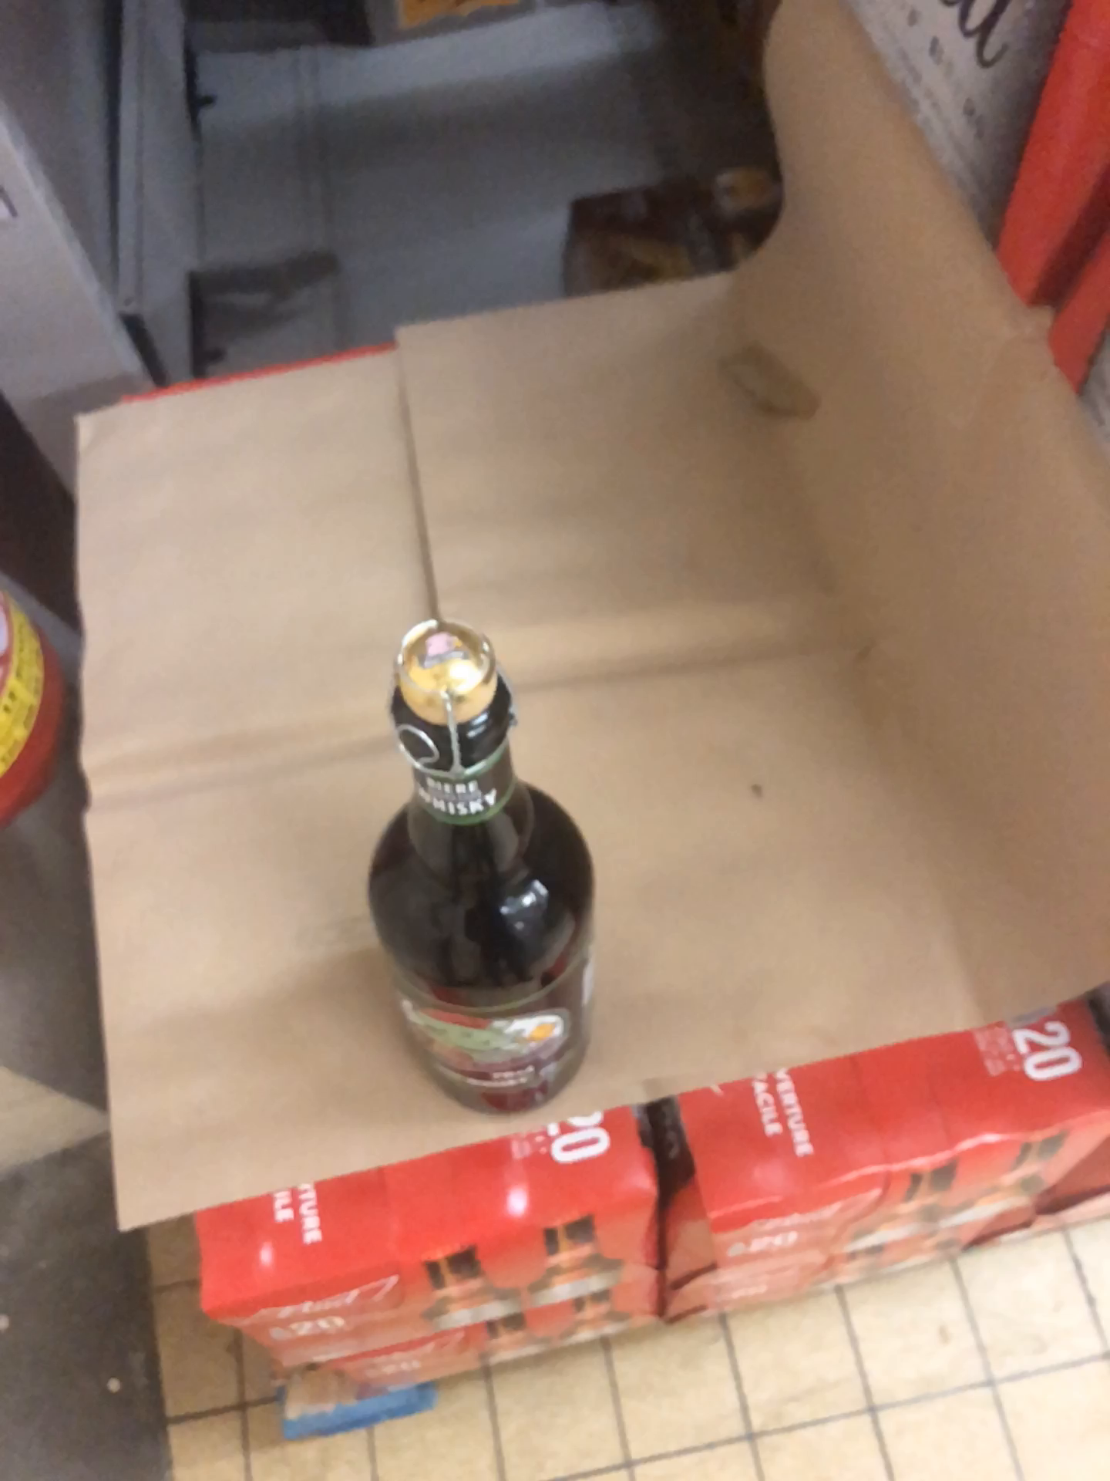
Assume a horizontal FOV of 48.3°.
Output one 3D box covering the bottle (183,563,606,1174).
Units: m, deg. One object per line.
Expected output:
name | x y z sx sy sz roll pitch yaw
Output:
bottle | -0.032 0.070 0.426 0.090 0.299 0.080 -3 57 2
